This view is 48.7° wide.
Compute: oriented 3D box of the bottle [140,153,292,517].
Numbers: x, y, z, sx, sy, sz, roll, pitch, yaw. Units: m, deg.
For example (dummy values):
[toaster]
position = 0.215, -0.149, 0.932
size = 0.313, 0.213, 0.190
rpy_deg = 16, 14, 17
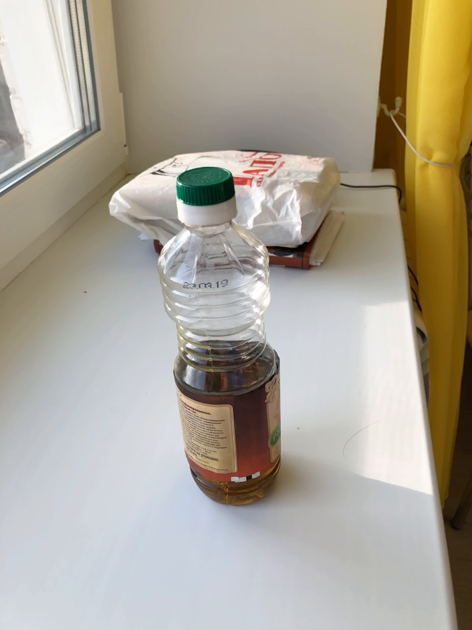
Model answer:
[bottle]
position = -0.007, 0.023, 0.318
size = 0.067, 0.217, 0.061
rpy_deg = -8, 33, -5
